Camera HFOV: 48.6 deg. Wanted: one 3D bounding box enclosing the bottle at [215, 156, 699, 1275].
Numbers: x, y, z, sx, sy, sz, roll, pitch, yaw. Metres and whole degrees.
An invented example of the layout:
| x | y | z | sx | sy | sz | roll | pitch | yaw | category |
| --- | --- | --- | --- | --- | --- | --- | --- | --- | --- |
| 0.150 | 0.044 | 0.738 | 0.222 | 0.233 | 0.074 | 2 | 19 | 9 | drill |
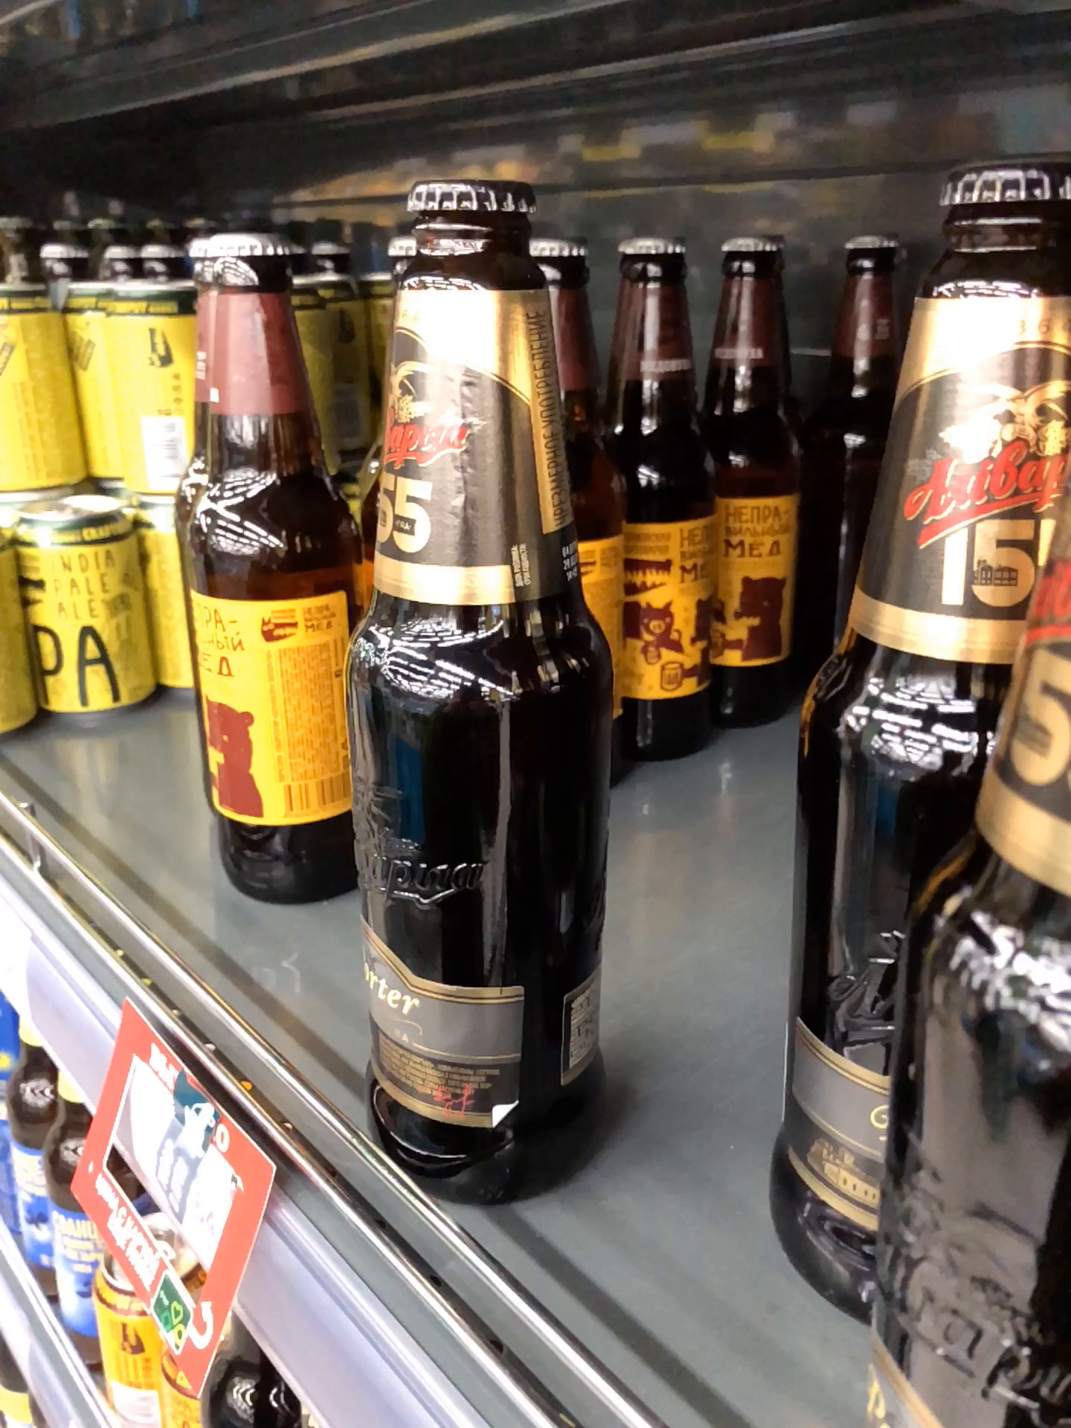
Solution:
| x | y | z | sx | sy | sz | roll | pitch | yaw | category |
| --- | --- | --- | --- | --- | --- | --- | --- | --- | --- |
| -0.019 | 0.002 | 0.312 | 0.080 | 0.264 | 0.080 | 0 | 21 | 0 | bottle |
